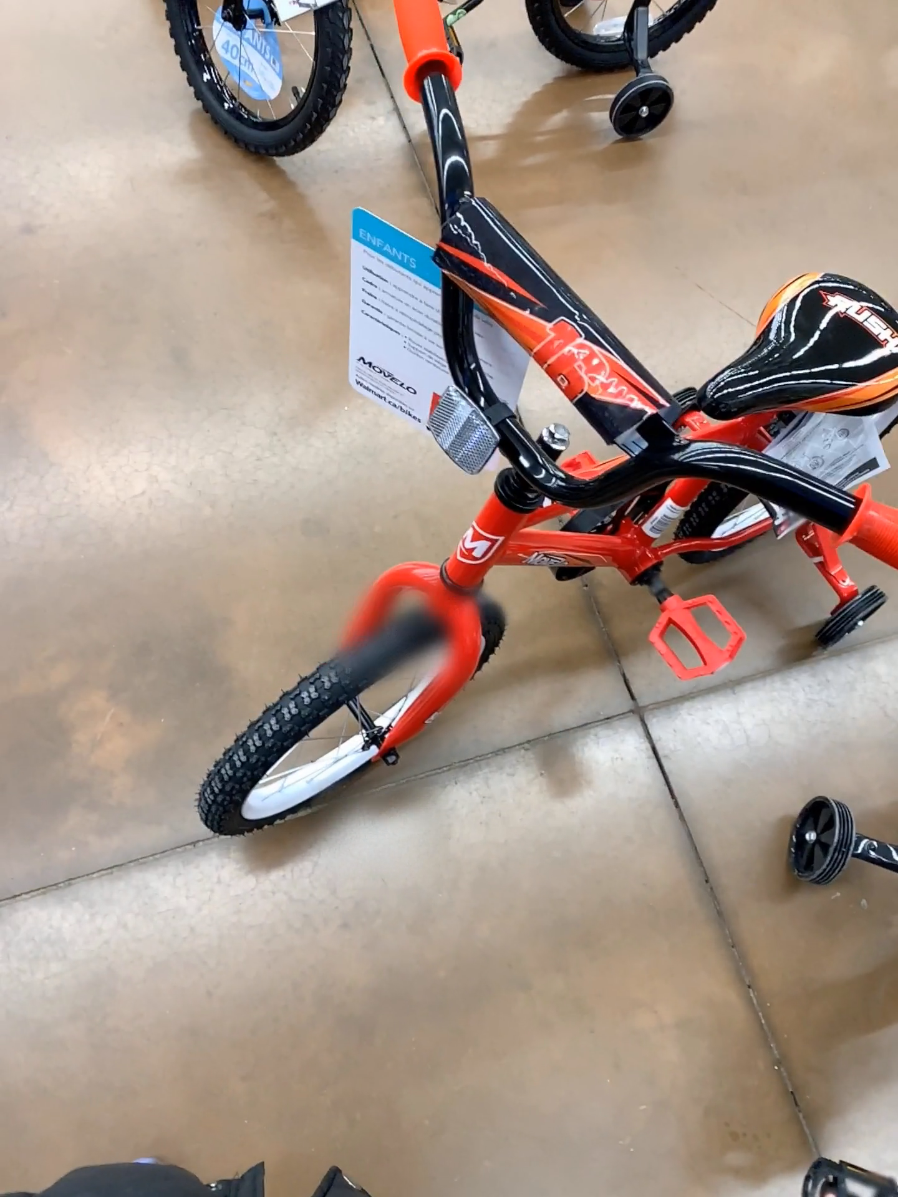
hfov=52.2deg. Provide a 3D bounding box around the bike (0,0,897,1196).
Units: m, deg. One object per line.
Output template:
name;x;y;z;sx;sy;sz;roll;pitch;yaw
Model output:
bike;0.241;-0.090;0.955;1.141;0.956;0.516;-30;72;-21
